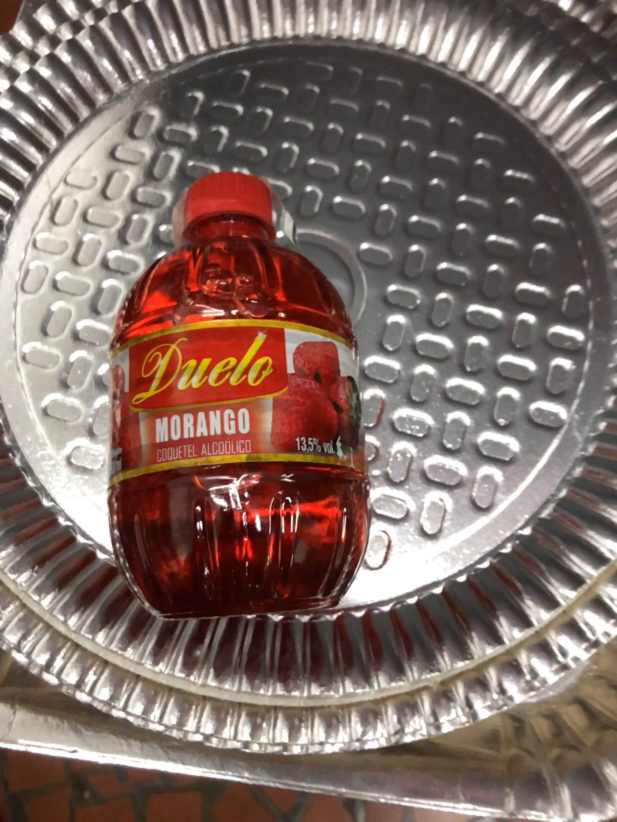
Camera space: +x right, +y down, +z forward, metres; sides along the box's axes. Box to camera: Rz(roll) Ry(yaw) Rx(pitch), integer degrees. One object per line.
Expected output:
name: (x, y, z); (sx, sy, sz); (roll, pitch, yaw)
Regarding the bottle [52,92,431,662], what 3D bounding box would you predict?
bottle: (-0.020, -0.008, 0.216); (0.090, 0.070, 0.150); (-4, 76, 0)
